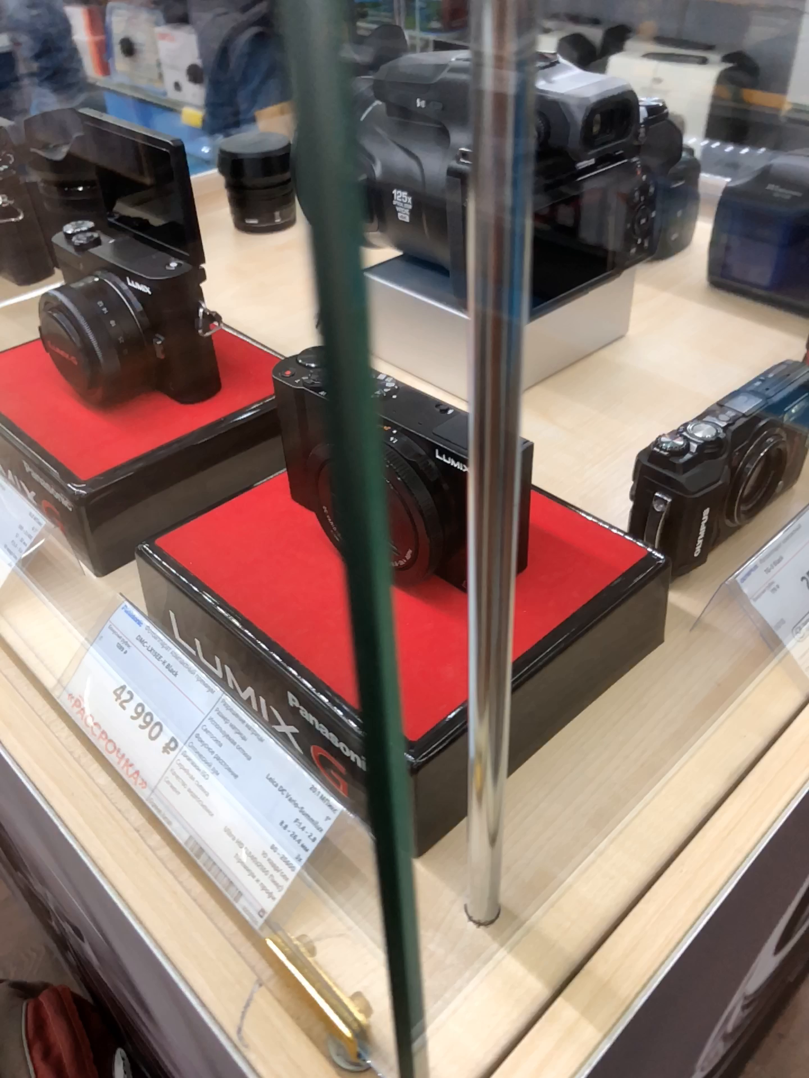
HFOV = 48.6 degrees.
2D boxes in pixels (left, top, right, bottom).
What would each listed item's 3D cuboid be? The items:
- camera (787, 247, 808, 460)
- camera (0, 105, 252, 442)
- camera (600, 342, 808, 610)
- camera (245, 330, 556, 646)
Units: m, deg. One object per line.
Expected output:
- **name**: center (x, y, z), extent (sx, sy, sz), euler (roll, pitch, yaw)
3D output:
- **camera**: center (0.256, -0.102, 0.480), extent (0.110, 0.072, 0.033), euler (-32, 47, -32)
- **camera**: center (-0.138, -0.126, 0.416), extent (0.066, 0.112, 0.110), euler (-33, 48, -32)
- **camera**: center (0.137, -0.030, 0.393), extent (0.110, 0.072, 0.033), euler (-31, 47, -30)
- **camera**: center (-0.003, -0.022, 0.331), extent (0.110, 0.070, 0.040), euler (30, 49, 33)
